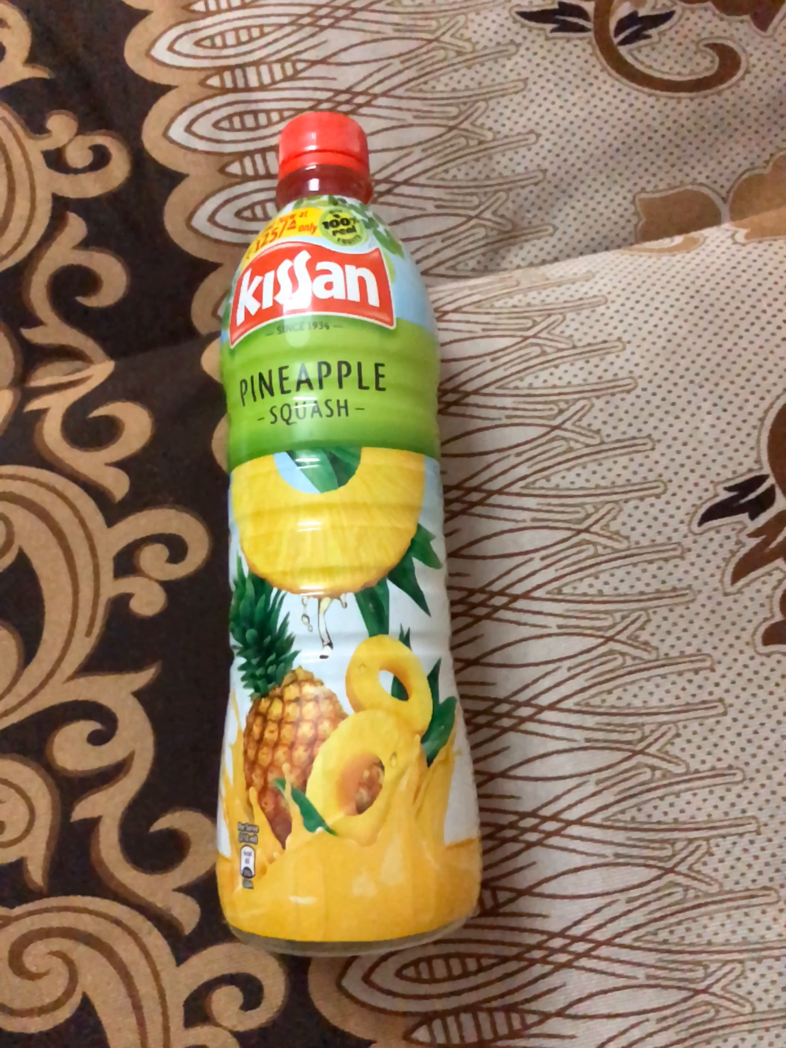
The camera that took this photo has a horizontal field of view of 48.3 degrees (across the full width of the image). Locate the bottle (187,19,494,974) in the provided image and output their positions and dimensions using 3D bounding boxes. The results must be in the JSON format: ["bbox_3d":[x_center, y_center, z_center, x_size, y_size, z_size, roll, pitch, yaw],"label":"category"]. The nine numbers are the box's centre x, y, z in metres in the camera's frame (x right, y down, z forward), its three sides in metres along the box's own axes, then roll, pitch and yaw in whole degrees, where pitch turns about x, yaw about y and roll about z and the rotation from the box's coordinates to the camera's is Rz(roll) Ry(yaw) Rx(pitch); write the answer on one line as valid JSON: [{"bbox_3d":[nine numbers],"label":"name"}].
[{"bbox_3d":[-0.015,-0.012,0.248,0.070,0.060,0.240,-3,80,3],"label":"bottle"}]
